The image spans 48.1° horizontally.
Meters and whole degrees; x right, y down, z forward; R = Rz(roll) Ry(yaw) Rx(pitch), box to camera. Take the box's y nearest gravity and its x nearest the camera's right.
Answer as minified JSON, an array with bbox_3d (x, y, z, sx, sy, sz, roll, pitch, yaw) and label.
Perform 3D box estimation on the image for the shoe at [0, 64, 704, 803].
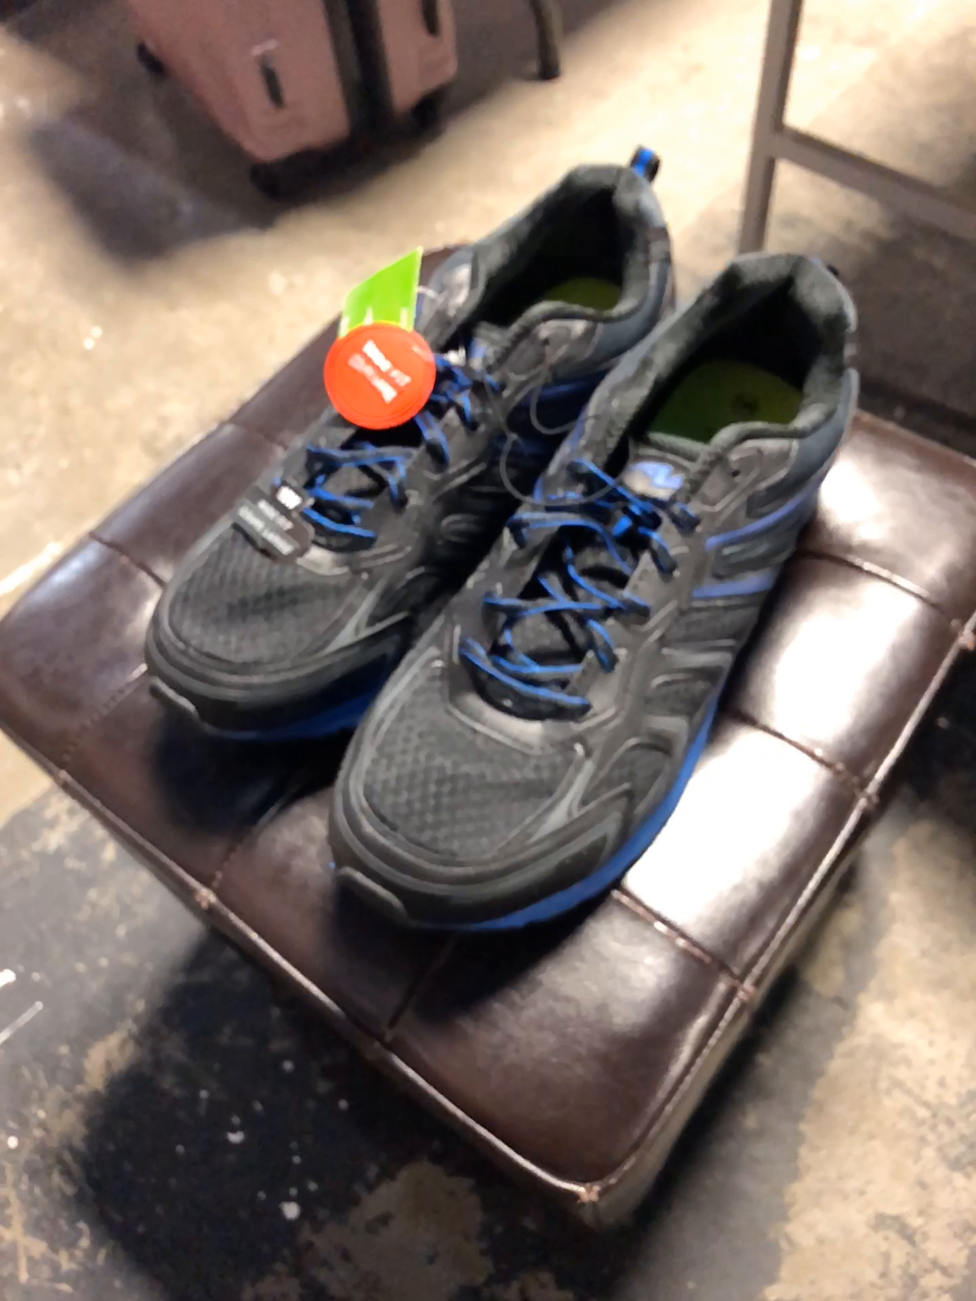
[{"bbox_3d":[-0.047,-0.098,0.450,0.120,0.119,0.281,34,67,24],"label":"shoe"}]

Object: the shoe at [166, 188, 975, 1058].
[{"bbox_3d":[0.048,-0.027,0.417,0.130,0.099,0.311,30,65,22],"label":"shoe"}]
